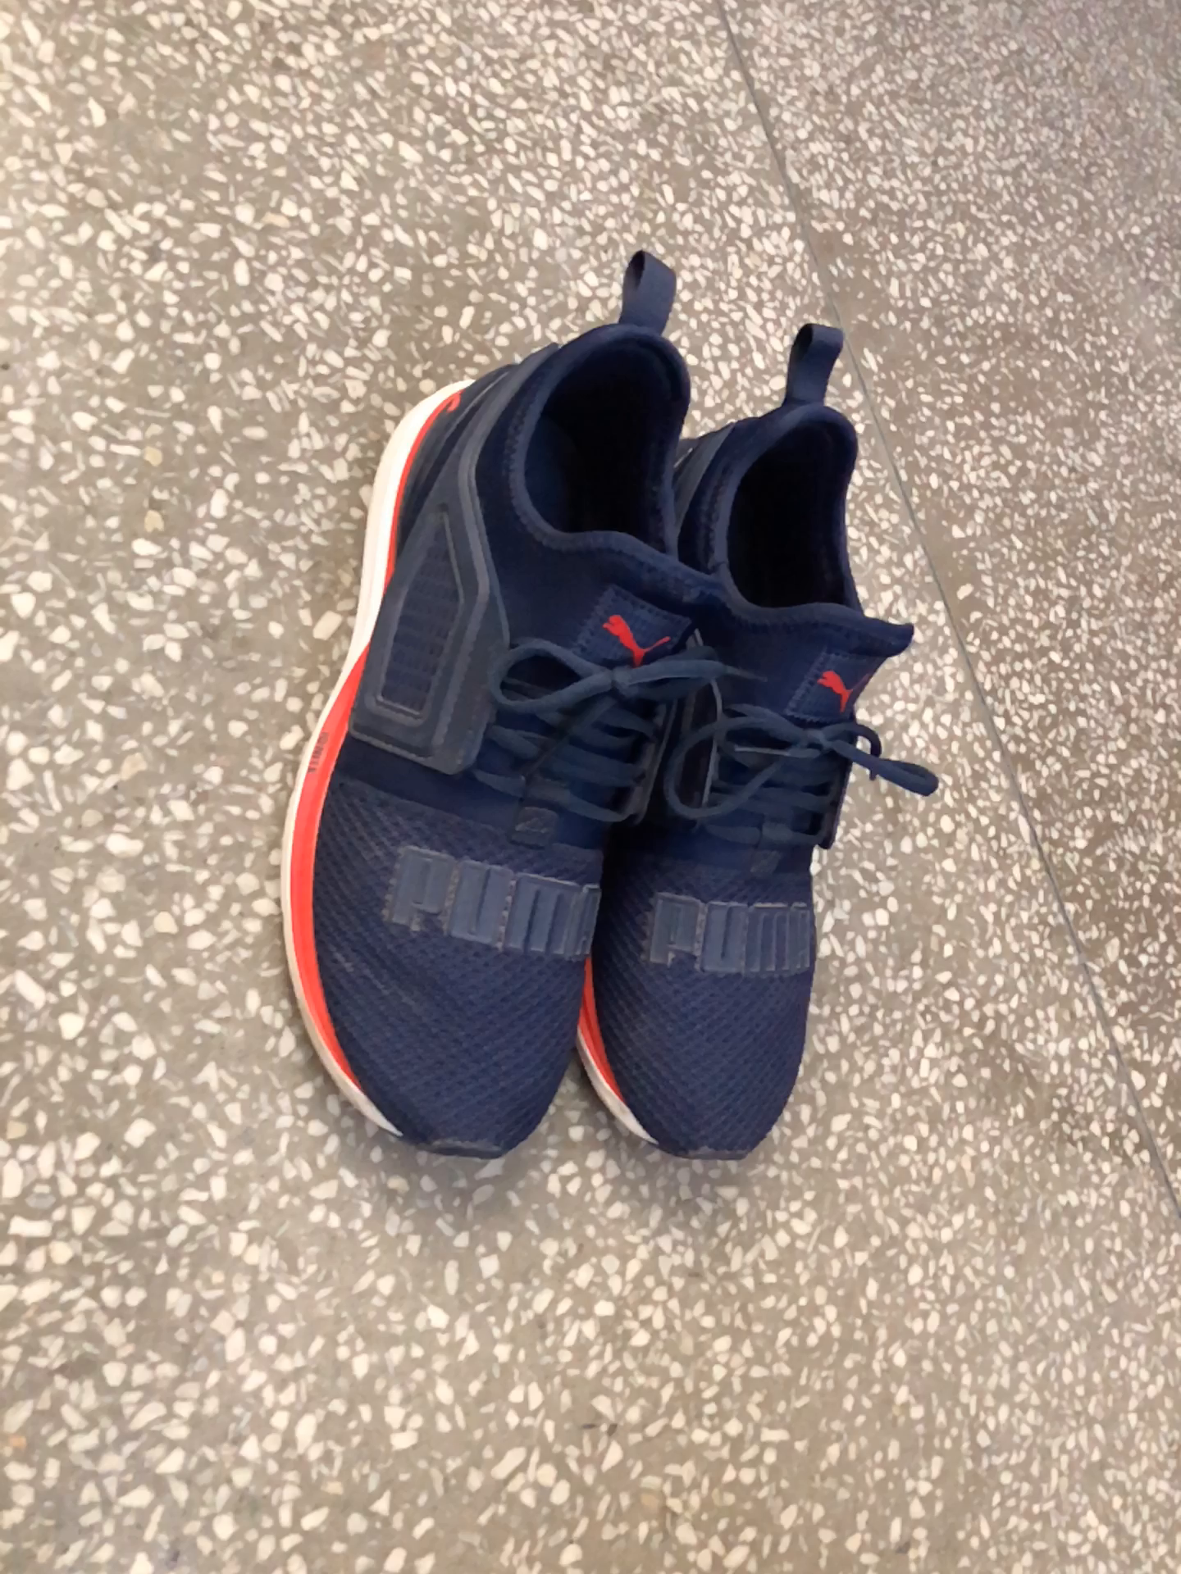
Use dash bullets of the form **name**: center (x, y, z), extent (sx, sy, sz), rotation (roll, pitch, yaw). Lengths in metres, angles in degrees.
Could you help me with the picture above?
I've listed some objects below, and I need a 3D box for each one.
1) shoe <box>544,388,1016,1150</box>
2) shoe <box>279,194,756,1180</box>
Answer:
- **shoe**: center (0.055, 0.005, 0.454), extent (0.100, 0.120, 0.230), rotation (6, 74, -25)
- **shoe**: center (-0.026, -0.022, 0.406), extent (0.100, 0.100, 0.270), rotation (8, 73, -31)
